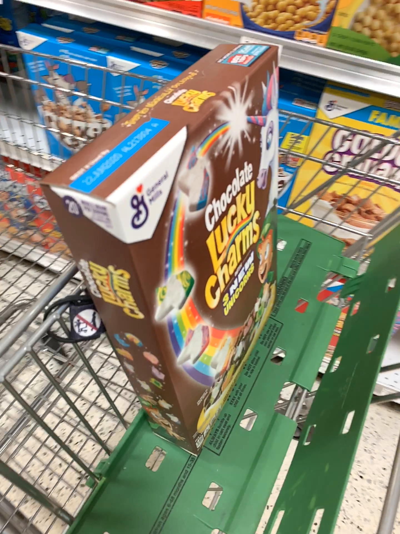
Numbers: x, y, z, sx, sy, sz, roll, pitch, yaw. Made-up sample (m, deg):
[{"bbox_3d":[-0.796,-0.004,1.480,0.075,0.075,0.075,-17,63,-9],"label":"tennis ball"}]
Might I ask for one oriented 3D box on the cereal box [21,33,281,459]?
[{"bbox_3d":[0.001,0.001,0.346,0.050,0.297,0.202,18,51,24],"label":"cereal box"}]
